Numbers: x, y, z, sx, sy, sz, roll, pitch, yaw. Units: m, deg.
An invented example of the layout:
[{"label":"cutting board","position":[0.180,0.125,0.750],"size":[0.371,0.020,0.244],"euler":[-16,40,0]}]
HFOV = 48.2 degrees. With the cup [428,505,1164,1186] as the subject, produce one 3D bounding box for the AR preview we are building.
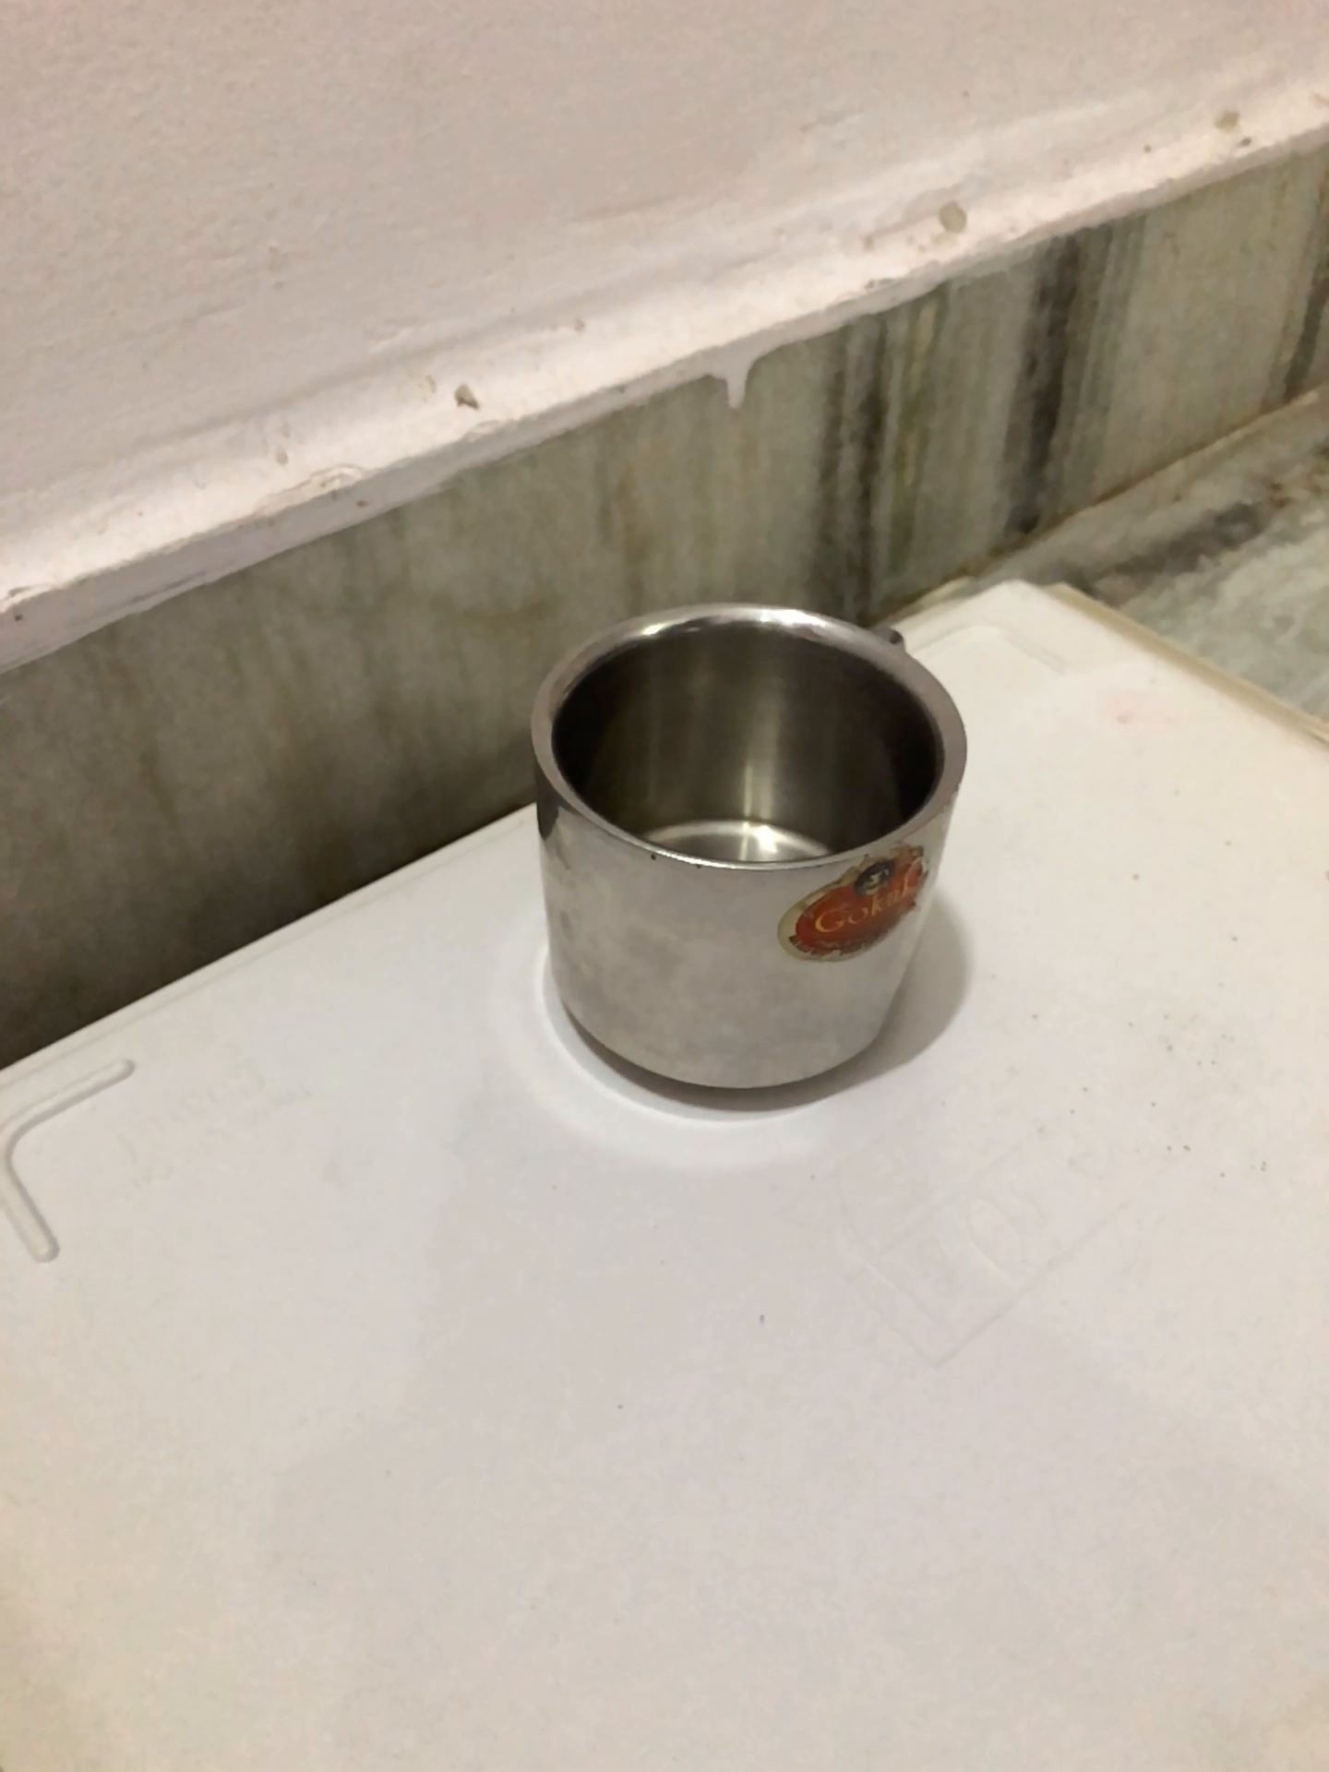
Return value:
[{"label":"cup","position":[0.024,-0.014,0.267],"size":[0.080,0.050,0.101],"euler":[31,50,28]}]
